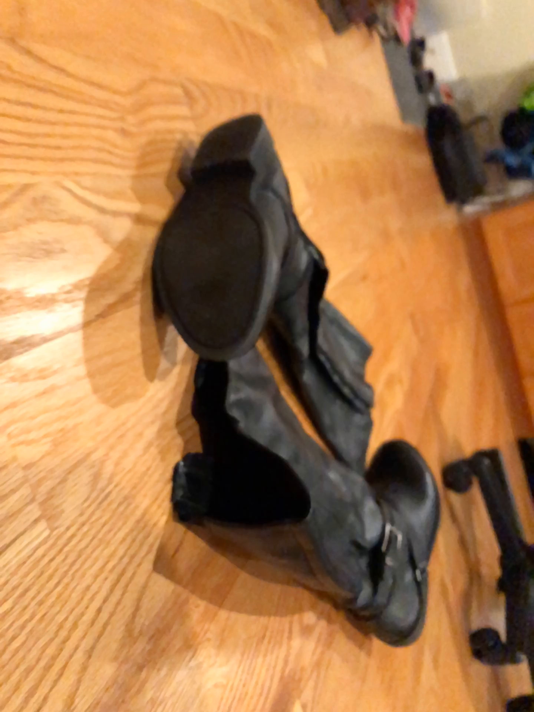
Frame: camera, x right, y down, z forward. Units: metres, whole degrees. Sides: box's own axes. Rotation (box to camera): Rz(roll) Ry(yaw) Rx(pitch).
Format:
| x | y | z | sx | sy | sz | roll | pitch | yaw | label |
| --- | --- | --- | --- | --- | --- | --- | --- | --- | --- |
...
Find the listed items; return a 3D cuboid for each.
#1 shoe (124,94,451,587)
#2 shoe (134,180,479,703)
| x | y | z | sx | sy | sz | roll | pitch | yaw | label |
| --- | --- | --- | --- | --- | --- | --- | --- | --- | --- |
| 0.059 | 0.011 | 0.553 | 0.394 | 0.094 | 0.251 | 54 | 32 | -39 | shoe |
| 0.077 | 0.103 | 0.541 | 0.404 | 0.104 | 0.291 | 54 | 32 | -41 | shoe |
